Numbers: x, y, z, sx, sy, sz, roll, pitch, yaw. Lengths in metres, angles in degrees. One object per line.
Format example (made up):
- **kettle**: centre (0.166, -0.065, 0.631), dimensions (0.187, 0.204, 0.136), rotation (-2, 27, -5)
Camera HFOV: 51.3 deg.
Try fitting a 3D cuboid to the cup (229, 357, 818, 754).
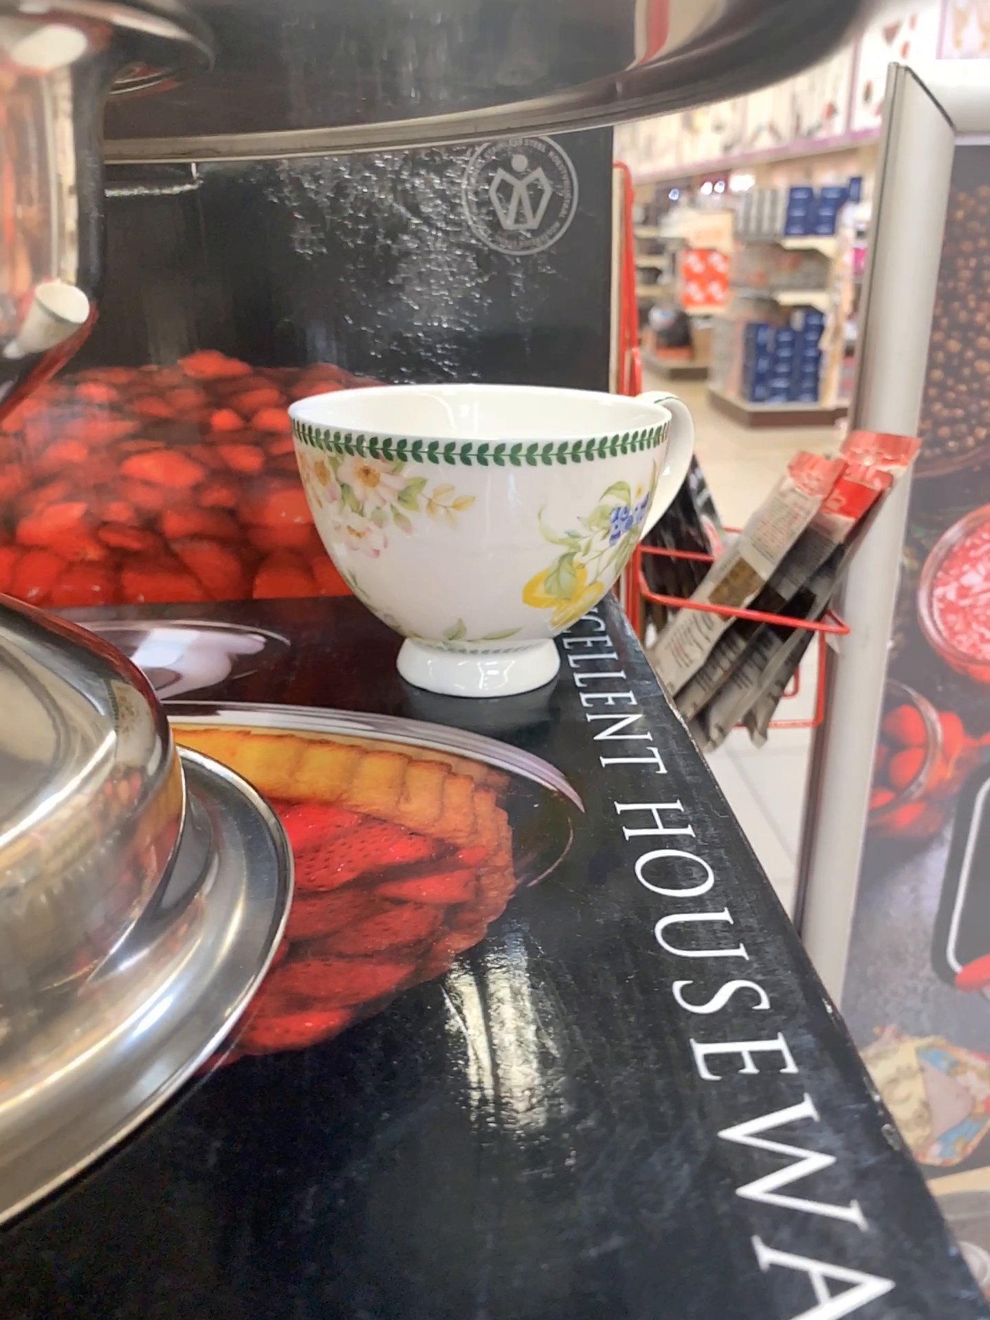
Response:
- **cup**: centre (0.009, -0.042, 0.301), dimensions (0.130, 0.070, 0.100), rotation (-18, 29, -35)
